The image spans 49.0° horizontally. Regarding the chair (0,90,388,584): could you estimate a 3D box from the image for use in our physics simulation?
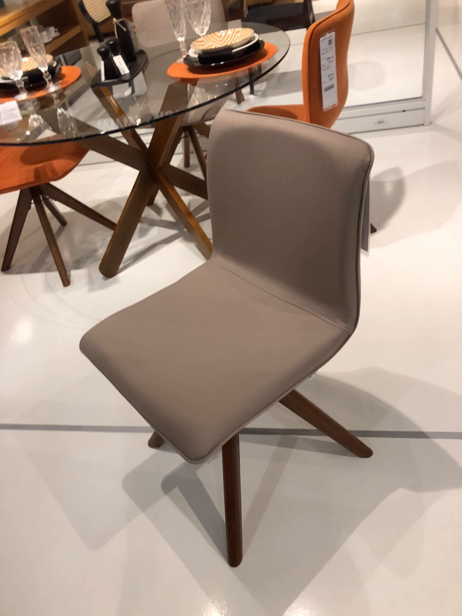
[{"bbox_3d":[-0.029,0.056,1.106,0.511,0.804,0.503,-34,43,-22],"label":"chair"}]
